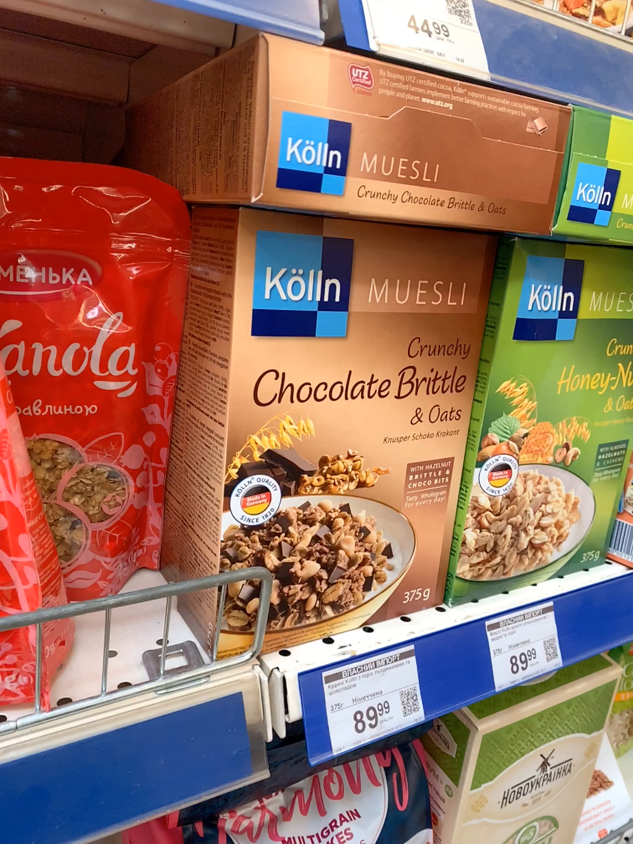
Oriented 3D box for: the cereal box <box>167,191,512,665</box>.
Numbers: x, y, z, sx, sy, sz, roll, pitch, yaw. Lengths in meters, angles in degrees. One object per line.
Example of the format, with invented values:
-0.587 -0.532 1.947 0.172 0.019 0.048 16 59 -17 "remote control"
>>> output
0.009 0.000 0.342 0.150 0.209 0.060 -3 16 -31 "cereal box"
